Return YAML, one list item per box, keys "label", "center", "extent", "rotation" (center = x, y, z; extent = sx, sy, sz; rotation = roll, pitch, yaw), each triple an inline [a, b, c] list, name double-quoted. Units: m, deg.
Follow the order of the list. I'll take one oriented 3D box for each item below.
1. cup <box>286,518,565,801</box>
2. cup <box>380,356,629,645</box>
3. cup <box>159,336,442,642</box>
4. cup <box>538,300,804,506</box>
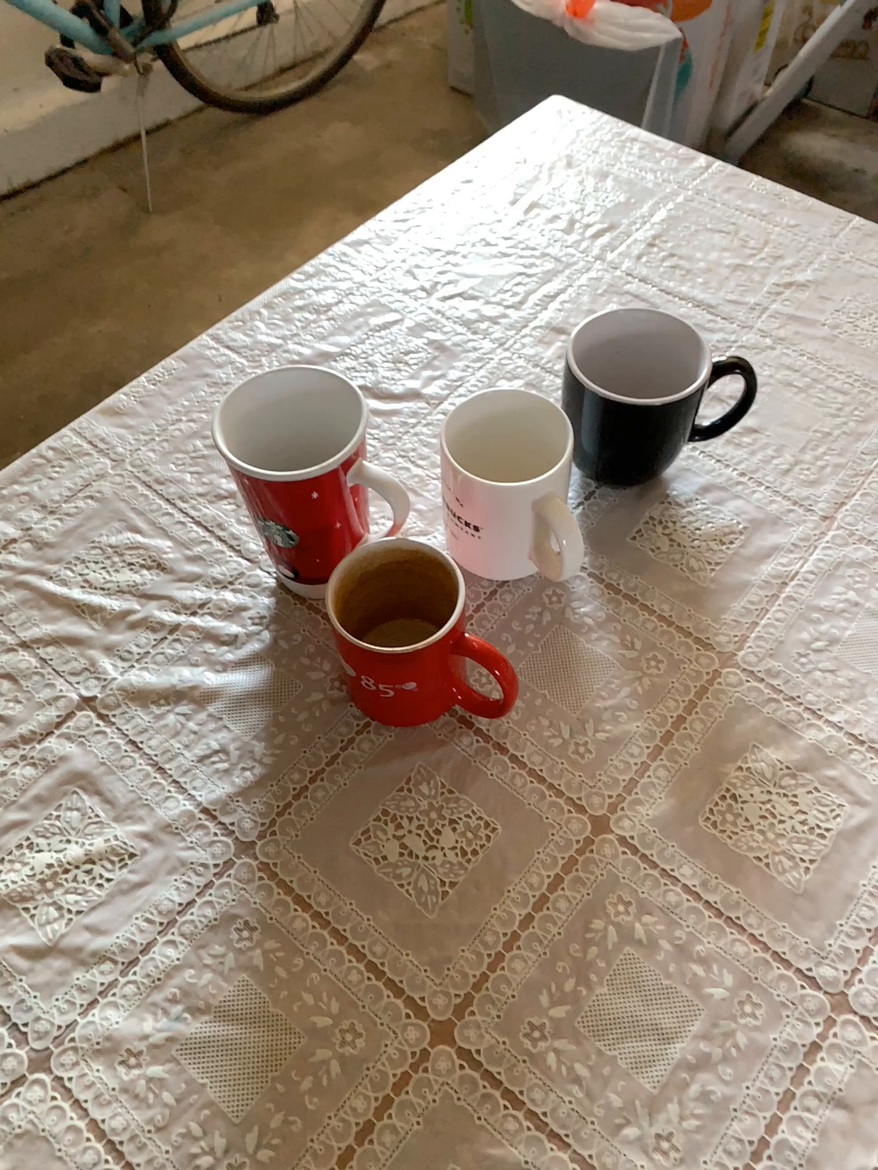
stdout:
- label: "cup"
  center: [-0.008, 0.046, 0.572]
  extent: [0.140, 0.090, 0.090]
  rotation: [31, 63, 20]
- label: "cup"
  center: [0.042, -0.060, 0.635]
  extent: [0.100, 0.110, 0.140]
  rotation: [-30, 60, -17]
- label: "cup"
  center: [-0.086, -0.063, 0.617]
  extent: [0.140, 0.140, 0.100]
  rotation: [25, 61, 17]
- label: "cup"
  center: [0.163, -0.135, 0.672]
  extent: [0.160, 0.090, 0.110]
  rotation: [-4, 56, 0]
